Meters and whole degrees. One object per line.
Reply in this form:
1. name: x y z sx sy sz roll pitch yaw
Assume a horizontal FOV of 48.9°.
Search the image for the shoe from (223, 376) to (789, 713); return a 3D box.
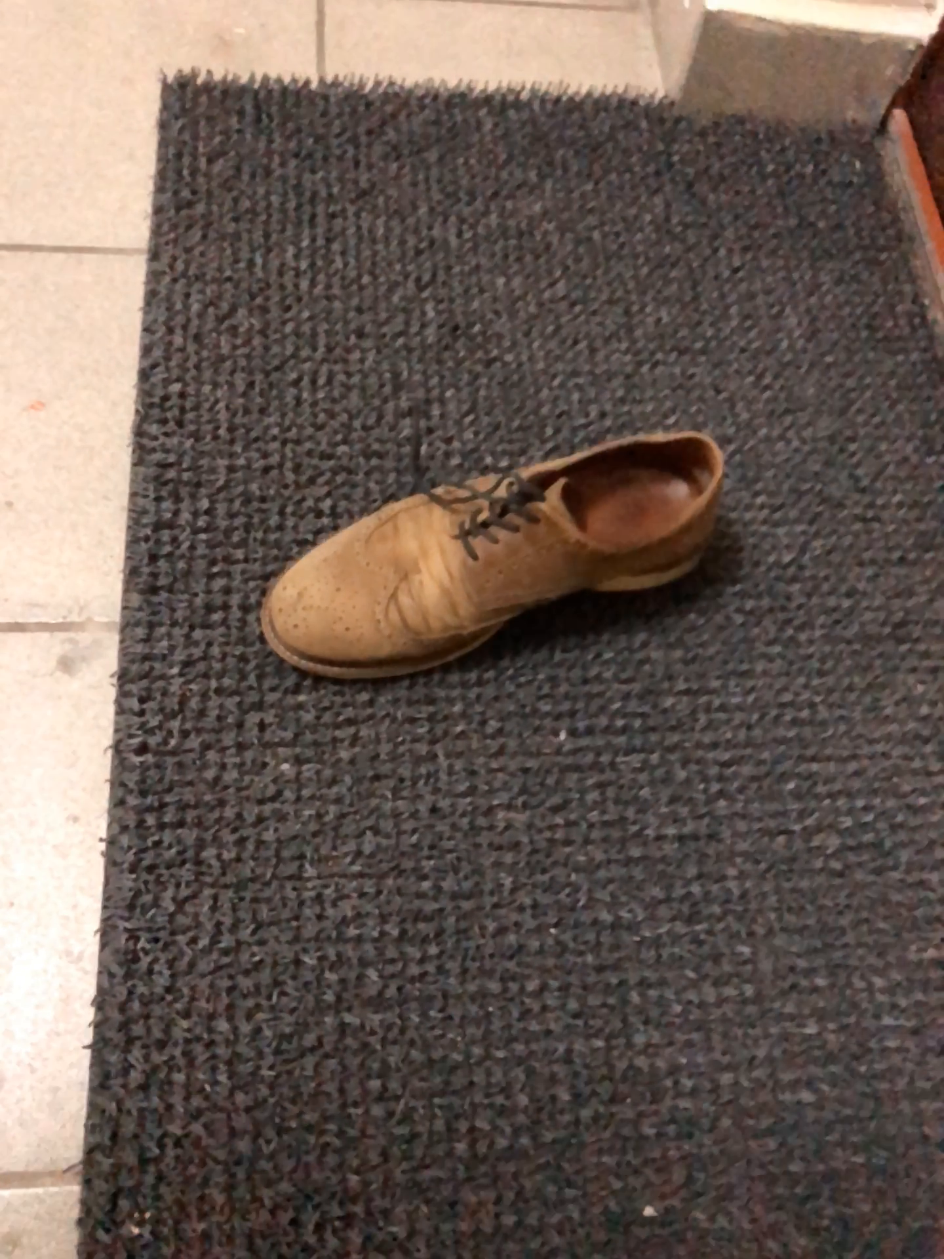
1. shoe: 0.017 -0.053 0.624 0.300 0.100 0.110 -13 68 -13
